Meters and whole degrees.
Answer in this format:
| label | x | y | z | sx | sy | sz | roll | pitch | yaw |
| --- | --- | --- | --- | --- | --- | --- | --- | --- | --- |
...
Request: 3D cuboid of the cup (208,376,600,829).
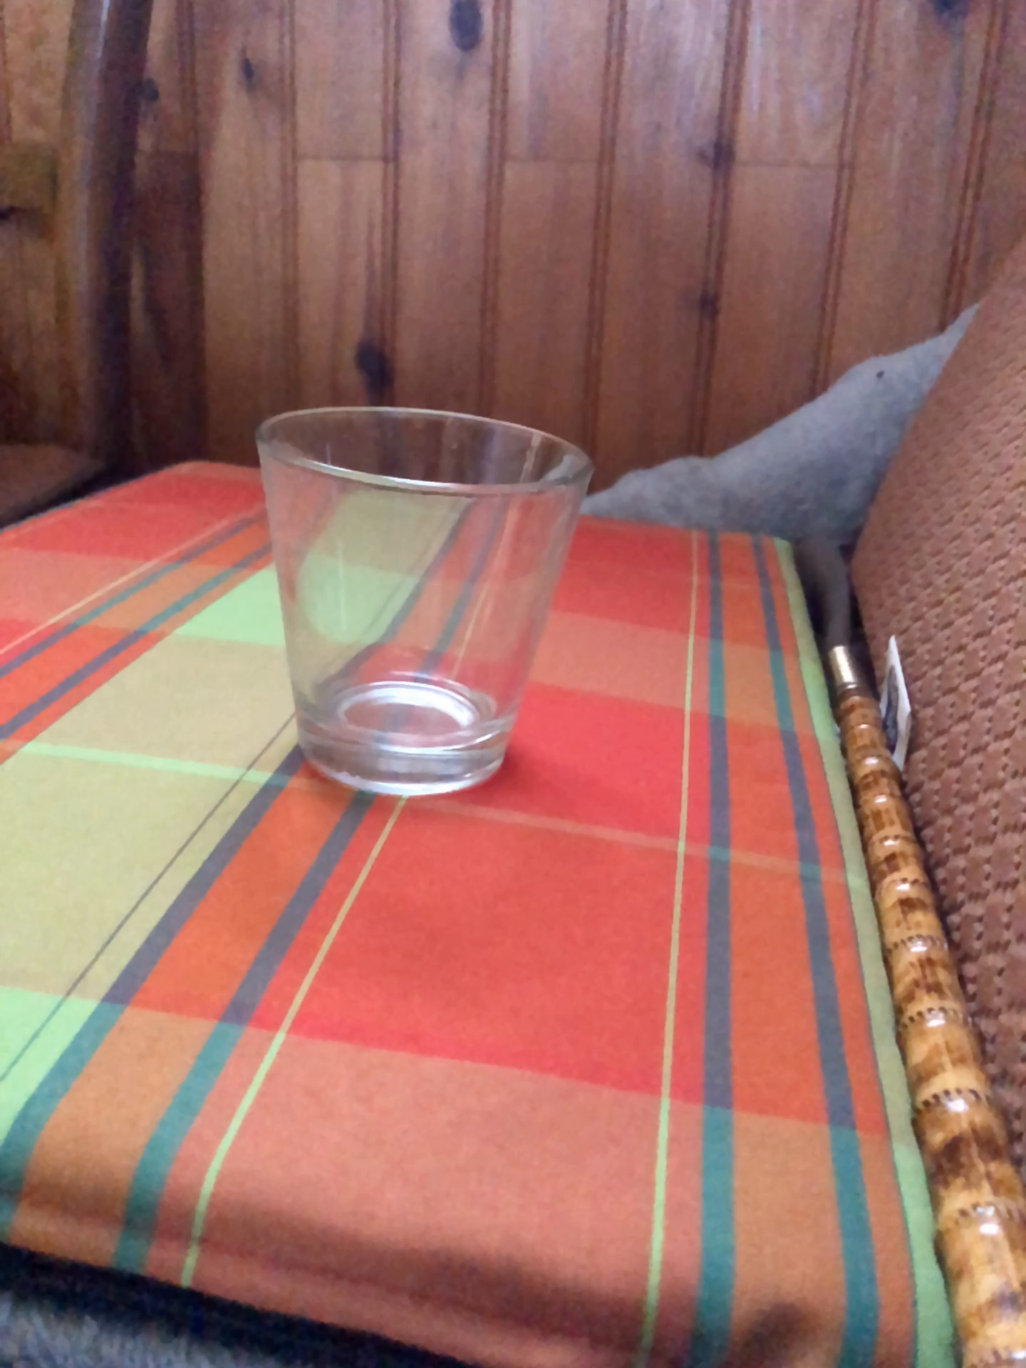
| label | x | y | z | sx | sy | sz | roll | pitch | yaw |
| --- | --- | --- | --- | --- | --- | --- | --- | --- | --- |
| cup | -0.027 | -0.027 | 0.305 | 0.080 | 0.090 | 0.080 | 6 | 23 | -2 |
